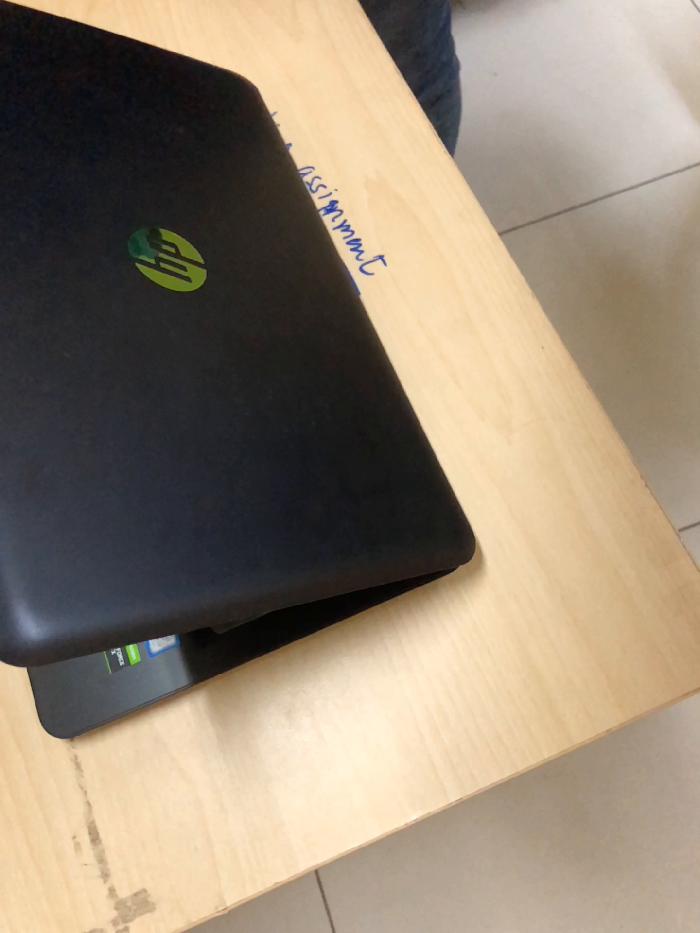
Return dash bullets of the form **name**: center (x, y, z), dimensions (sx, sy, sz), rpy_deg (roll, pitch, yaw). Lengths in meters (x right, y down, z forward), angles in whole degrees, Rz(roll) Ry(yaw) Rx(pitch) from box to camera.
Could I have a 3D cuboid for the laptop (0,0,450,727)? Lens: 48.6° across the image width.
- **laptop**: center (-0.131, -0.089, 0.406), dimensions (0.230, 0.167, 0.360), rpy_deg (-23, 69, -3)
